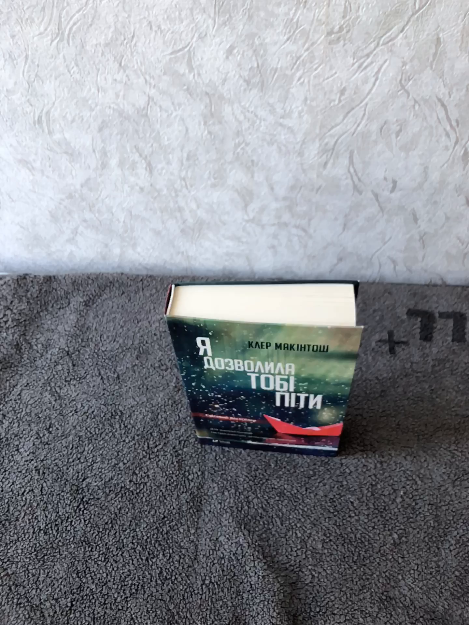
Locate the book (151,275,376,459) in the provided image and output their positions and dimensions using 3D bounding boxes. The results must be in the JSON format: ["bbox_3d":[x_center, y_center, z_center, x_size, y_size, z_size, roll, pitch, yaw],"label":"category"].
[{"bbox_3d":[0.025,0.055,0.414,0.139,0.201,0.044,0,52,5],"label":"book"}]
